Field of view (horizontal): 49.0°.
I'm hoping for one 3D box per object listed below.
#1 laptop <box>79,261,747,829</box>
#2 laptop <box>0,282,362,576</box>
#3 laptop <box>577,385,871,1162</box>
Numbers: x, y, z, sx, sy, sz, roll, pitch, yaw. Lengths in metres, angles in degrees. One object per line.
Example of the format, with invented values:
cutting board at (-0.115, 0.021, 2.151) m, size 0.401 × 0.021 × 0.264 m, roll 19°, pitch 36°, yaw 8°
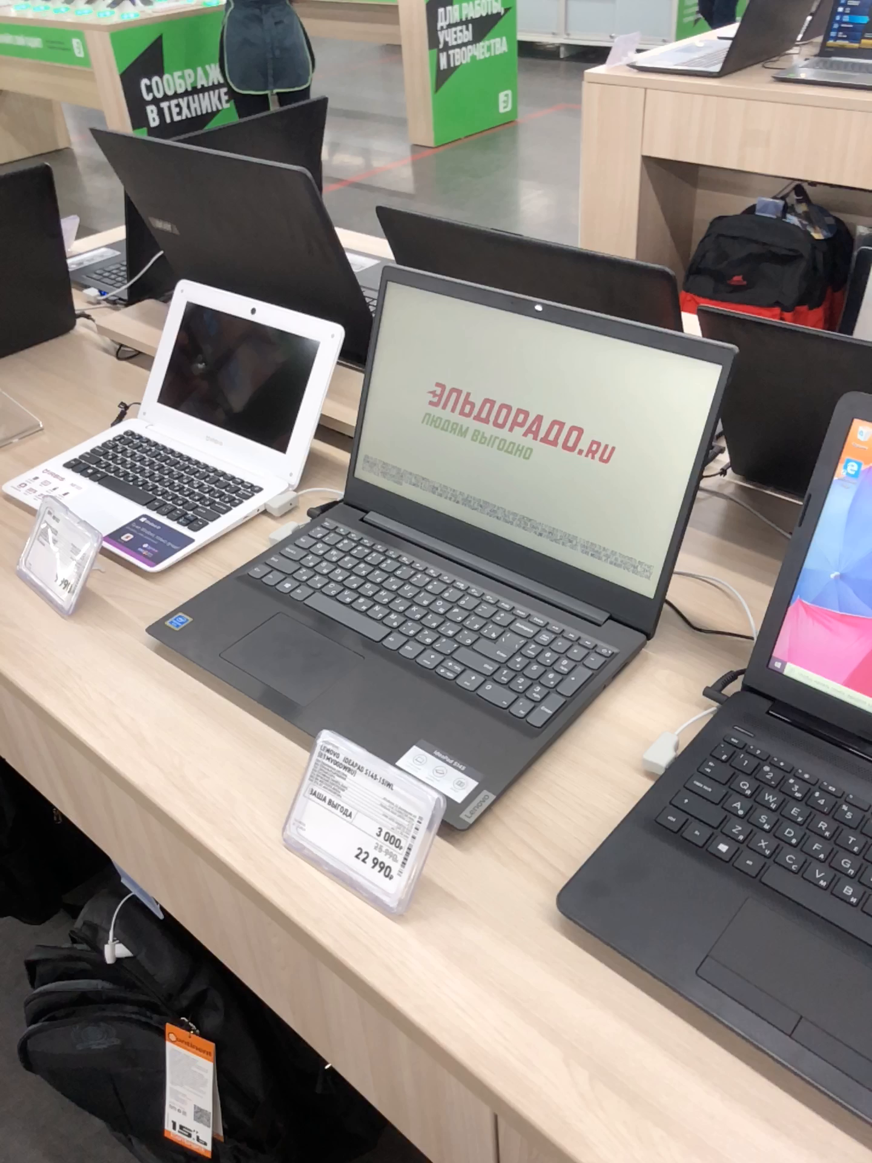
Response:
laptop at (-0.009, -0.068, 0.769) m, size 0.355 × 0.212 × 0.341 m, roll 25°, pitch 46°, yaw 33°
laptop at (-0.286, -0.182, 1.023) m, size 0.280 × 0.139 × 0.290 m, roll 24°, pitch 45°, yaw 33°
laptop at (0.322, 0.098, 0.495) m, size 0.375 × 0.206 × 0.322 m, roll 26°, pitch 46°, yaw 35°
